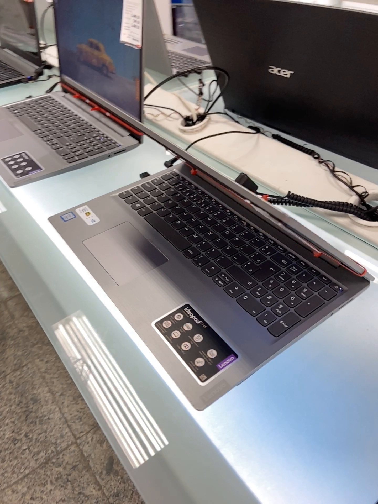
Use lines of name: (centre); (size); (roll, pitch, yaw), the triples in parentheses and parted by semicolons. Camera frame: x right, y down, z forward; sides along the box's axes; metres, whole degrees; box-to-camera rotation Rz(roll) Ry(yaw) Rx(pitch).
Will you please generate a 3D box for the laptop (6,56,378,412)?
laptop: (-0.005, -0.071, 0.449); (0.247, 0.167, 0.362); (-28, 47, -25)
